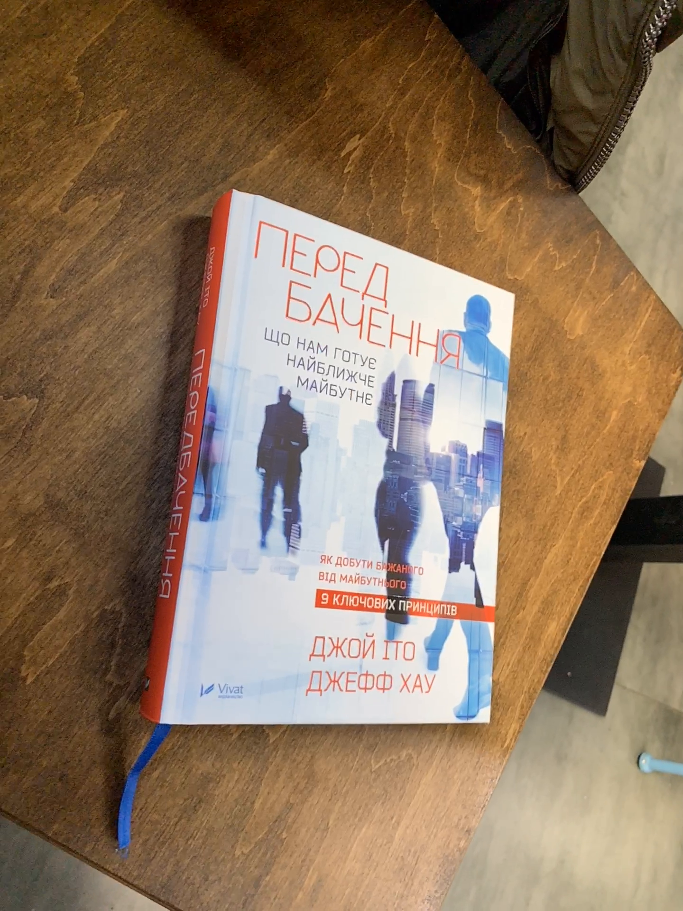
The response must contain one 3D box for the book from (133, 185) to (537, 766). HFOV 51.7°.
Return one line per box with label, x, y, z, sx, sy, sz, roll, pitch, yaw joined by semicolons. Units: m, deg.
book;0.008;0.014;0.287;0.149;0.040;0.196;11;78;-29
